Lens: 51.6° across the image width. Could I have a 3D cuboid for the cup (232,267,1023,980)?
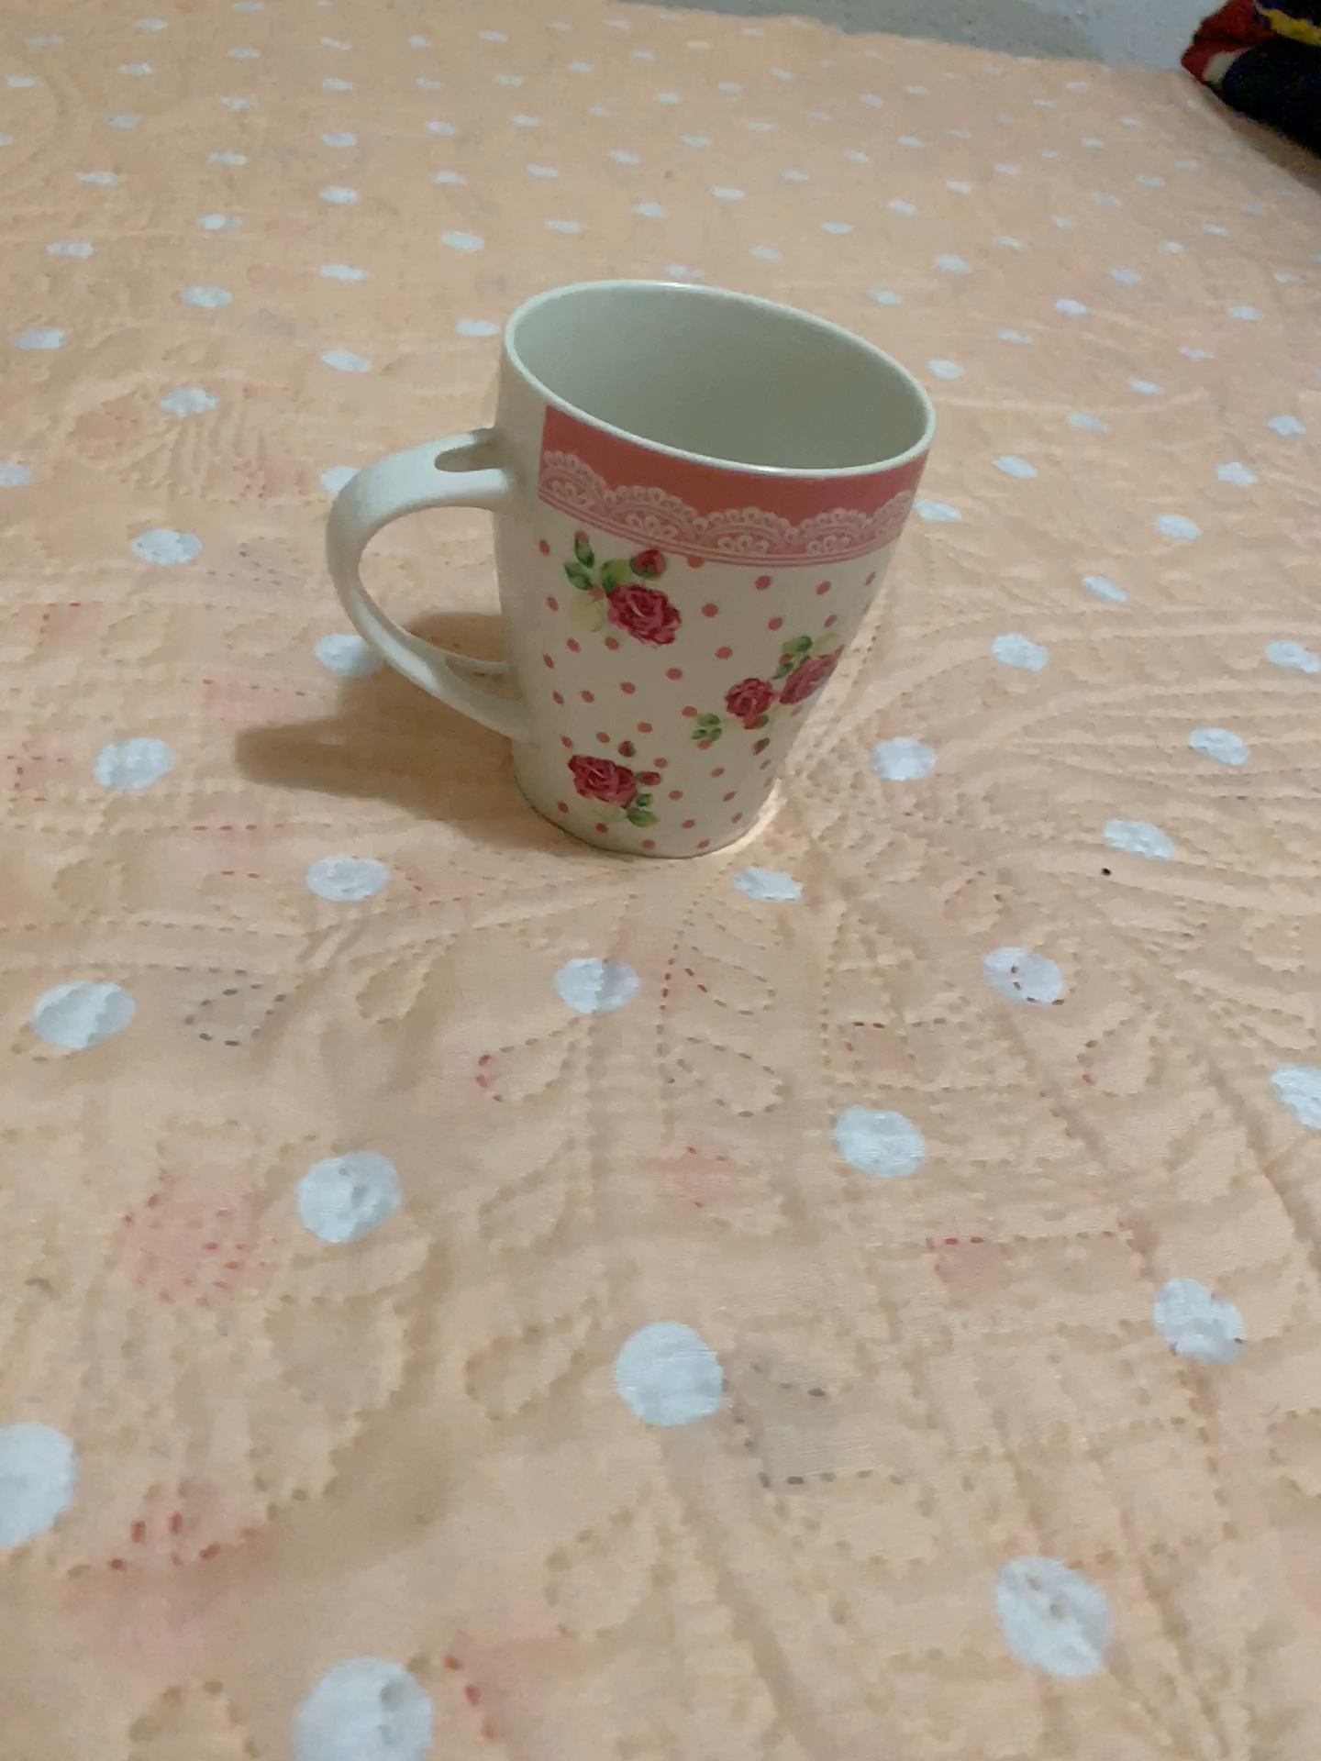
[{"bbox_3d":[-0.015,-0.057,0.282,0.120,0.099,0.090,-10,46,-24],"label":"cup"}]
